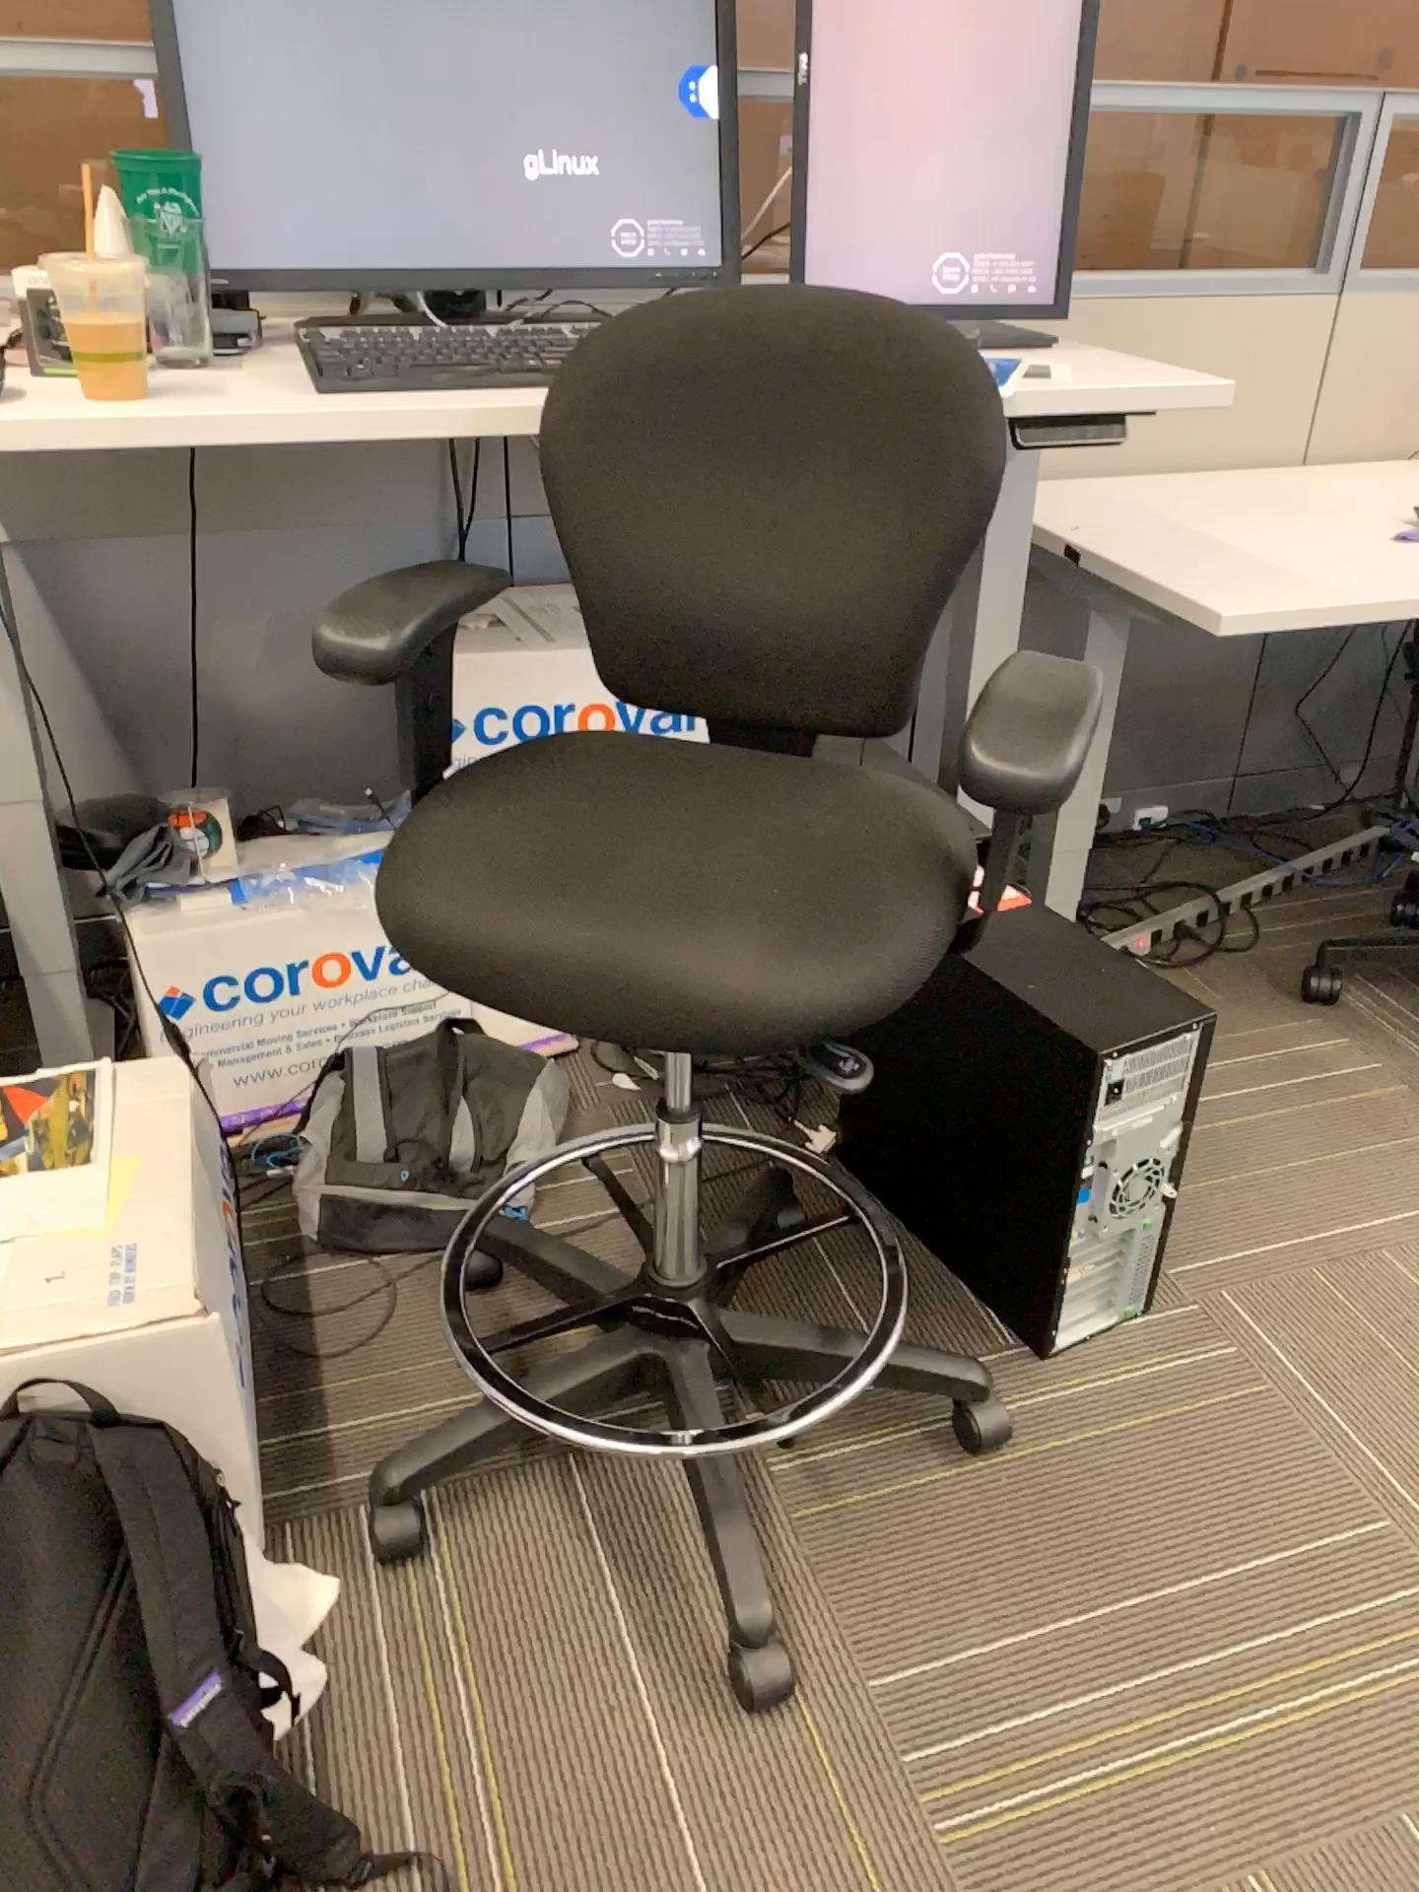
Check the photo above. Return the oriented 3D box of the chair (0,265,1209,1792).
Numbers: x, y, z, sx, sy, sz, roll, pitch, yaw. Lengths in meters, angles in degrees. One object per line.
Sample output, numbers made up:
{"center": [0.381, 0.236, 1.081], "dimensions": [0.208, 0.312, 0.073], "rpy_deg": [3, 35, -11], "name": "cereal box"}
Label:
{"center": [-0.001, 0.002, 1.378], "dimensions": [0.711, 1.103, 0.774], "rpy_deg": [9, 30, 14], "name": "chair"}
